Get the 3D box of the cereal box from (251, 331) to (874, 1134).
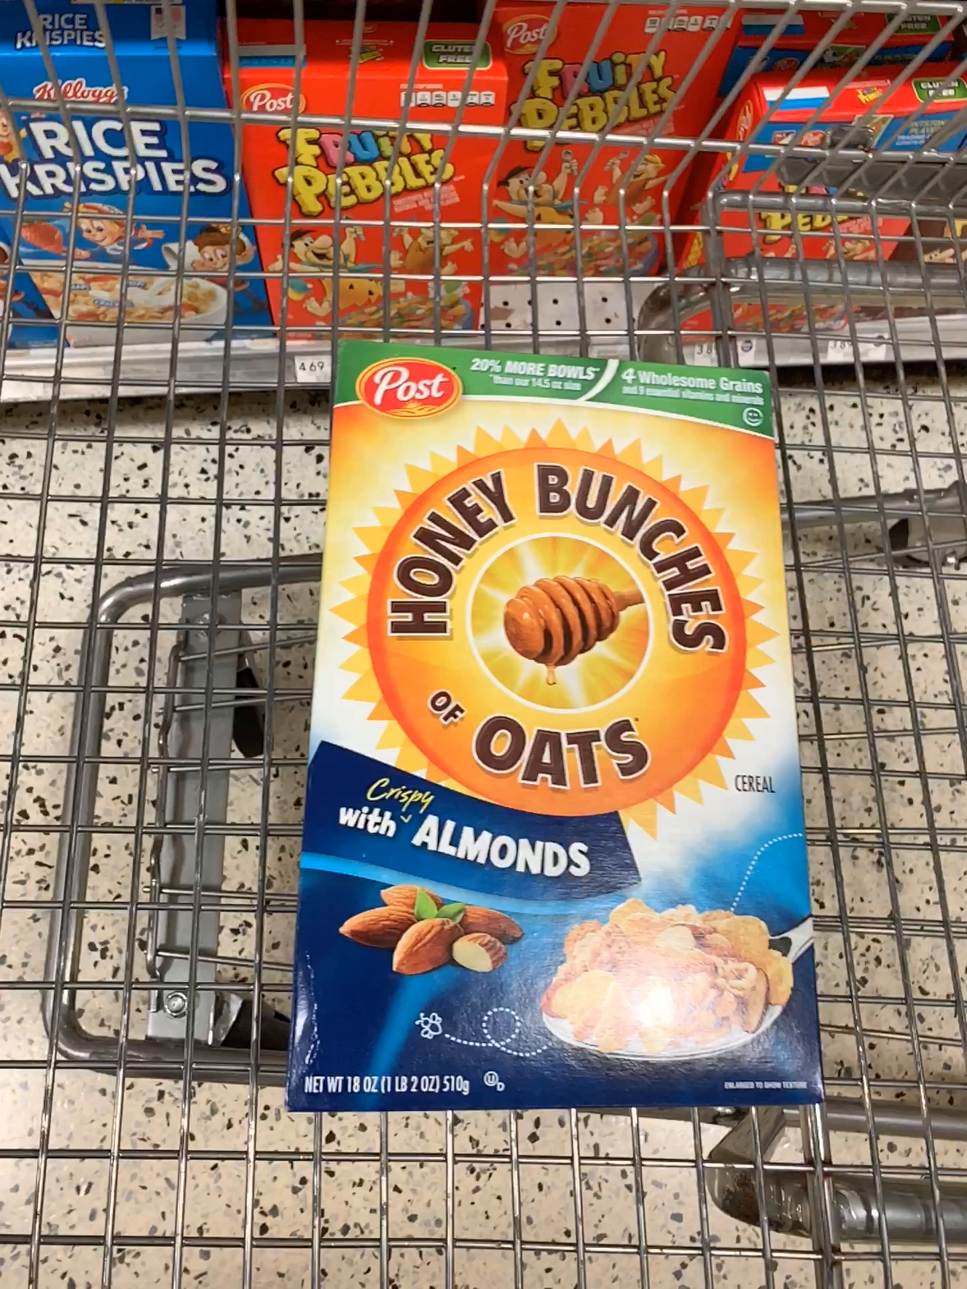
[{"bbox_3d":[0.027,0.027,0.404,0.210,0.060,0.301,2,72,-6],"label":"cereal box"}]
